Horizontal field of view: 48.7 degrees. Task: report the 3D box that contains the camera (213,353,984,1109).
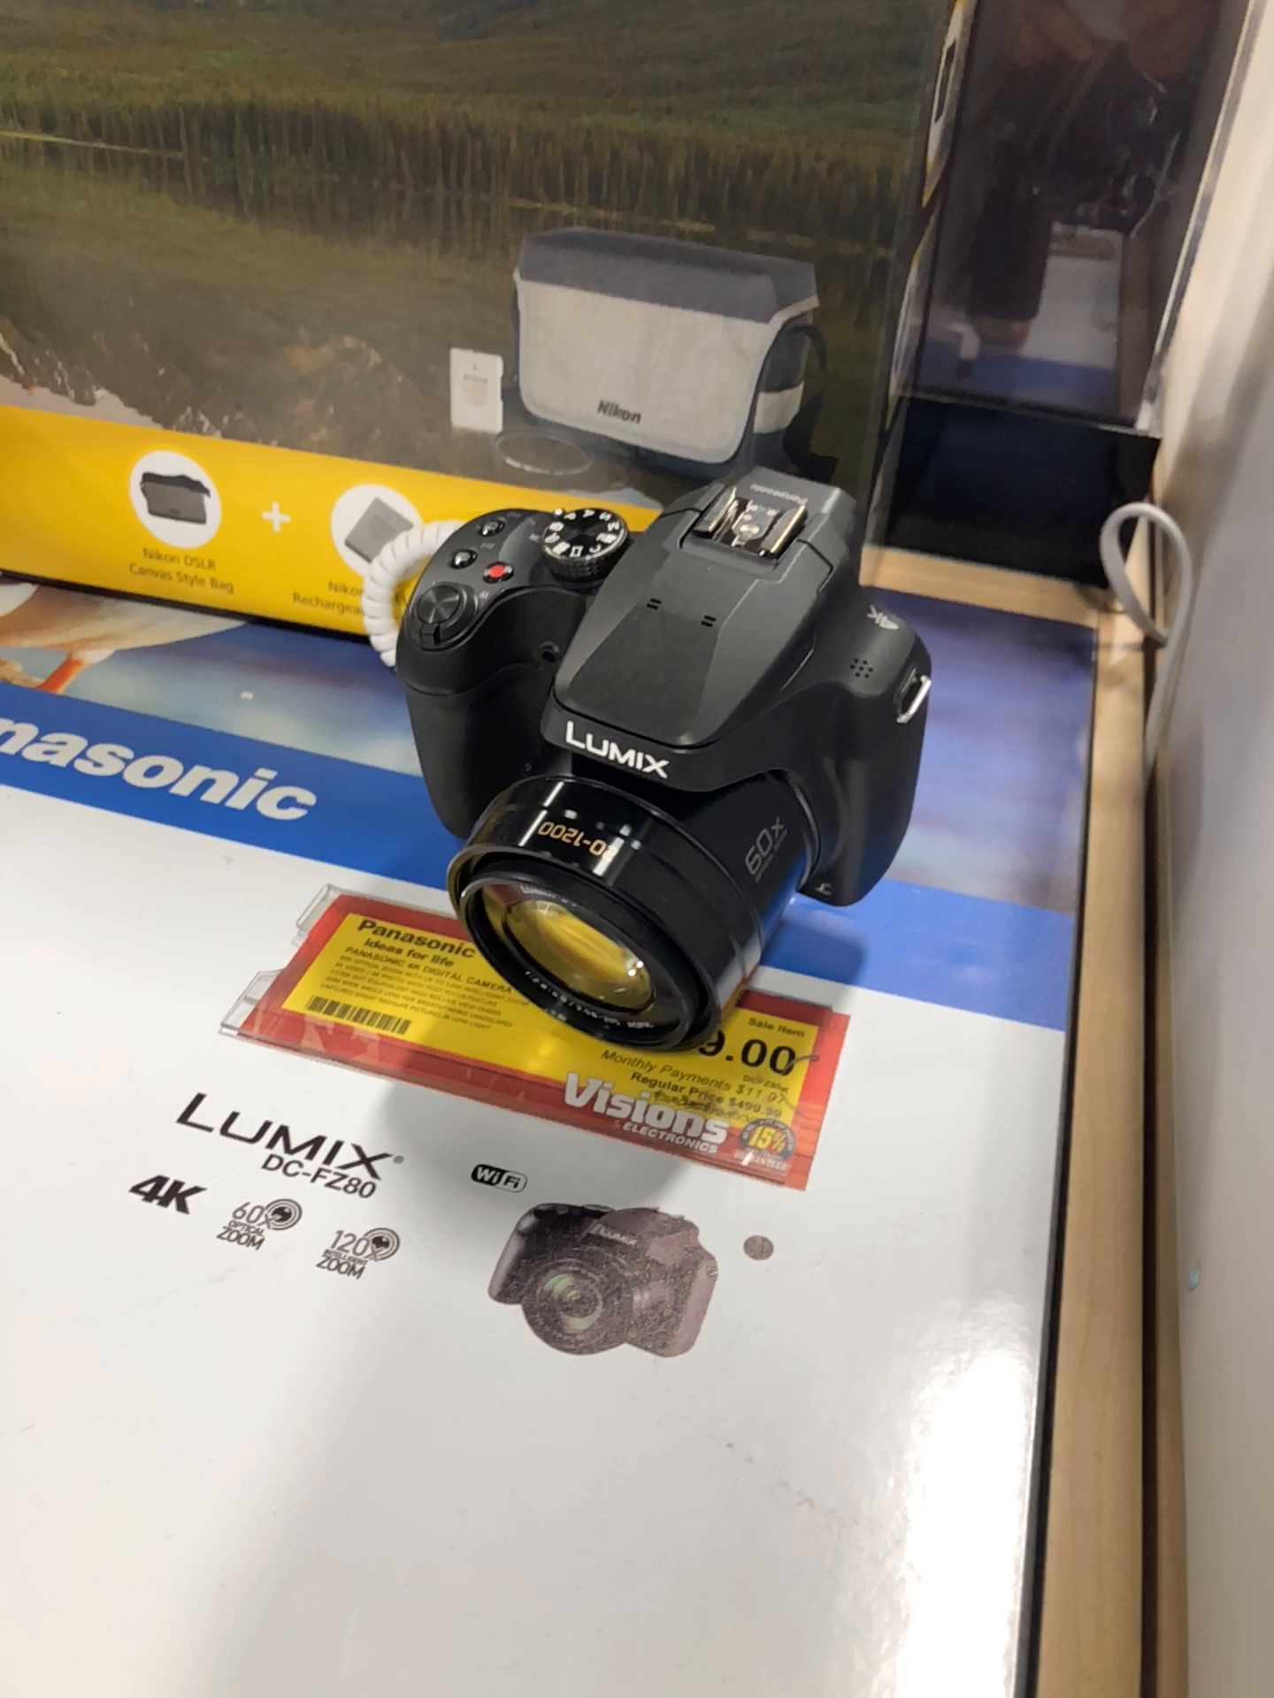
[{"bbox_3d":[-0.003,-0.029,0.314,0.120,0.099,0.101,18,52,18],"label":"camera"}]
